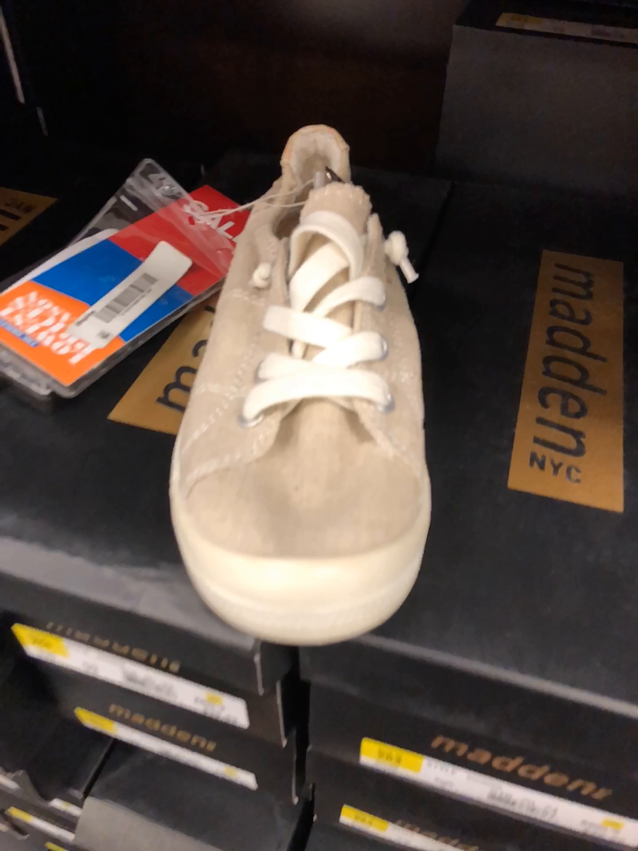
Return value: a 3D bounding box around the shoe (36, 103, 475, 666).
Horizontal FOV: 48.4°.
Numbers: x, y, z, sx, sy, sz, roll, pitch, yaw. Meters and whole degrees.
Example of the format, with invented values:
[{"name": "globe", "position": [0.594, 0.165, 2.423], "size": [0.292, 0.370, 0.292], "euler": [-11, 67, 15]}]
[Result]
[{"name": "shoe", "position": [-0.010, -0.035, 0.245], "size": [0.090, 0.070, 0.211], "euler": [2, 44, 1]}]
